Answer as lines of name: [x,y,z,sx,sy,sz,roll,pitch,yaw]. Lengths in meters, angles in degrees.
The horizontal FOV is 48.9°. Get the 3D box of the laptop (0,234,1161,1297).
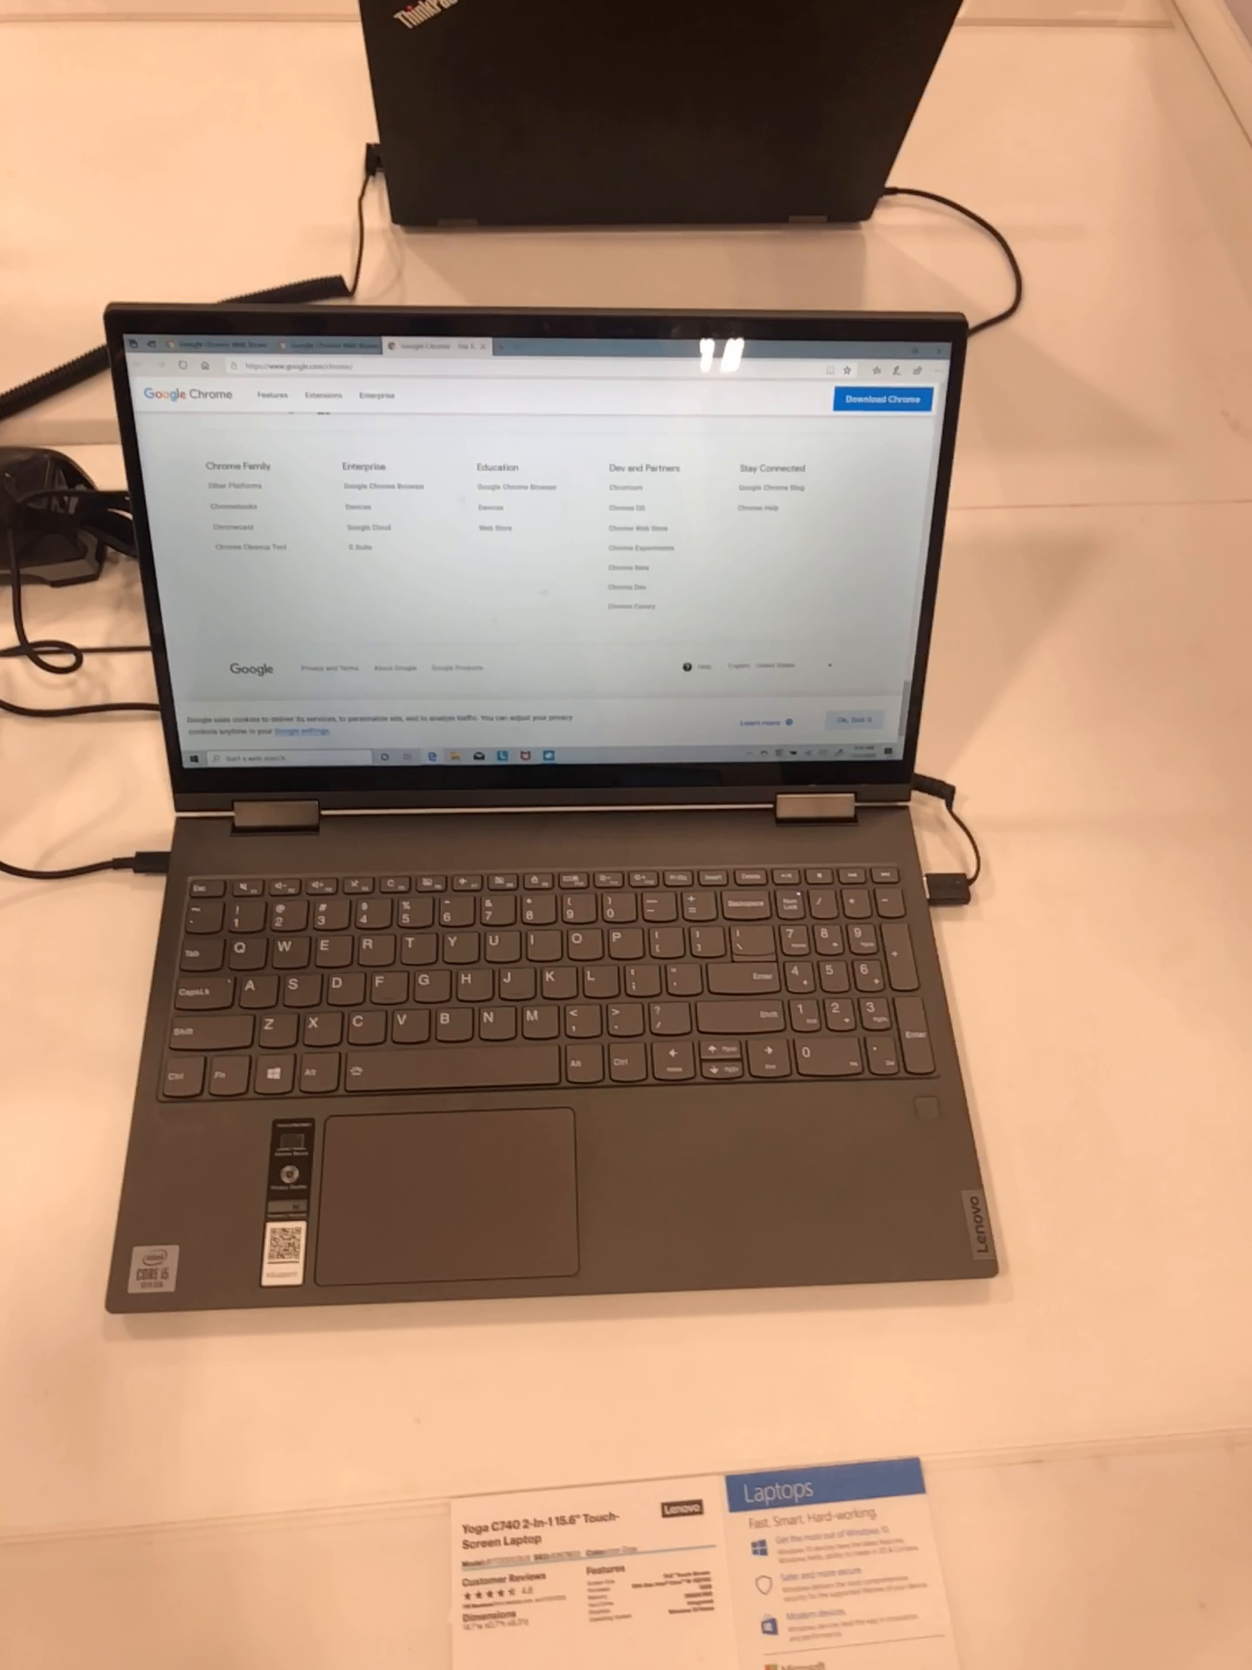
laptop: [-0.028,-0.029,0.561,0.352,0.179,0.365,-1,63,-4]
